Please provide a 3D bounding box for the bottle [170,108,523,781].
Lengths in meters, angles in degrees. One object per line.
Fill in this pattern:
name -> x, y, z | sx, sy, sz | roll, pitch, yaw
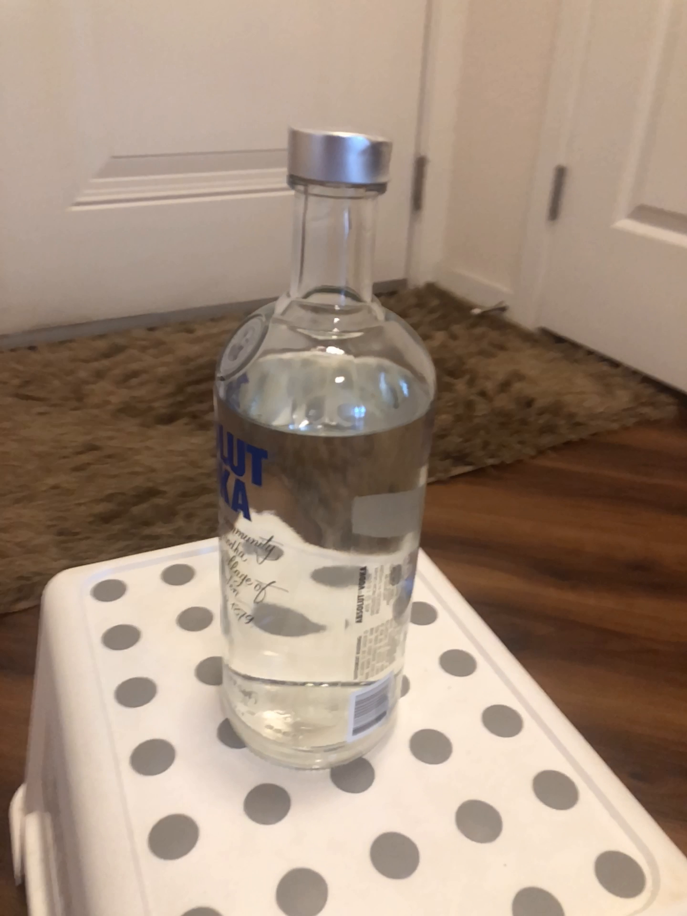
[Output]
bottle -> -0.005, 0.006, 0.319 | 0.100, 0.268, 0.090 | 2, 29, -2
